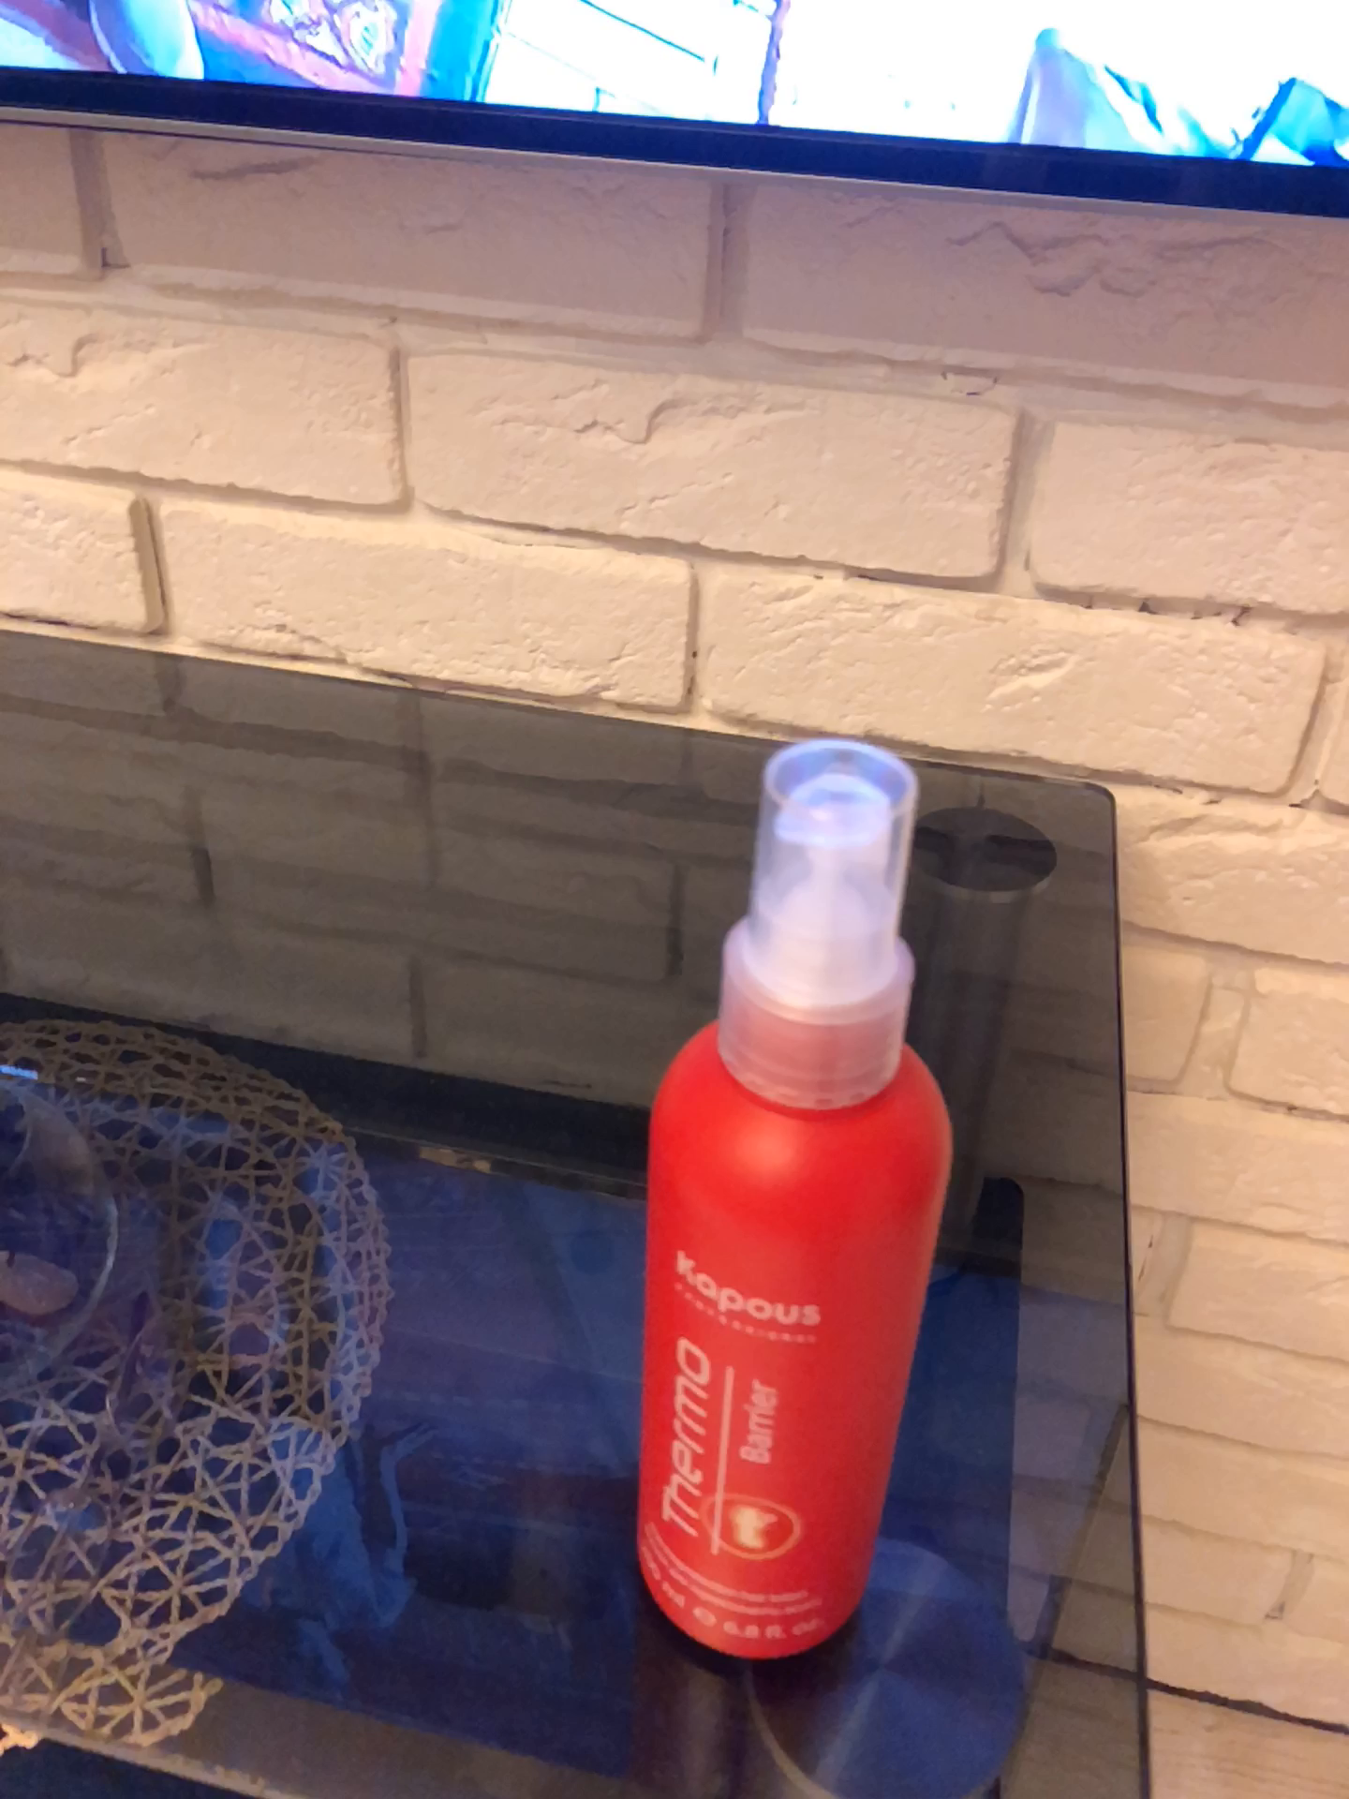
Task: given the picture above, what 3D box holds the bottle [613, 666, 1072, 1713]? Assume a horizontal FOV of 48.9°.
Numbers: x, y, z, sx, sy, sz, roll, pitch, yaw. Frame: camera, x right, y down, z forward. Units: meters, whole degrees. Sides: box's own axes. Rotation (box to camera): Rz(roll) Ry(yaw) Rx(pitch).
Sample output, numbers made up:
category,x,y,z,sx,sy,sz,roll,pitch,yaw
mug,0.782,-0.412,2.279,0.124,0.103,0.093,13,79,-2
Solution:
category,x,y,z,sx,sy,sz,roll,pitch,yaw
bottle,0.023,0.057,0.249,0.048,0.179,0.053,2,34,-1
